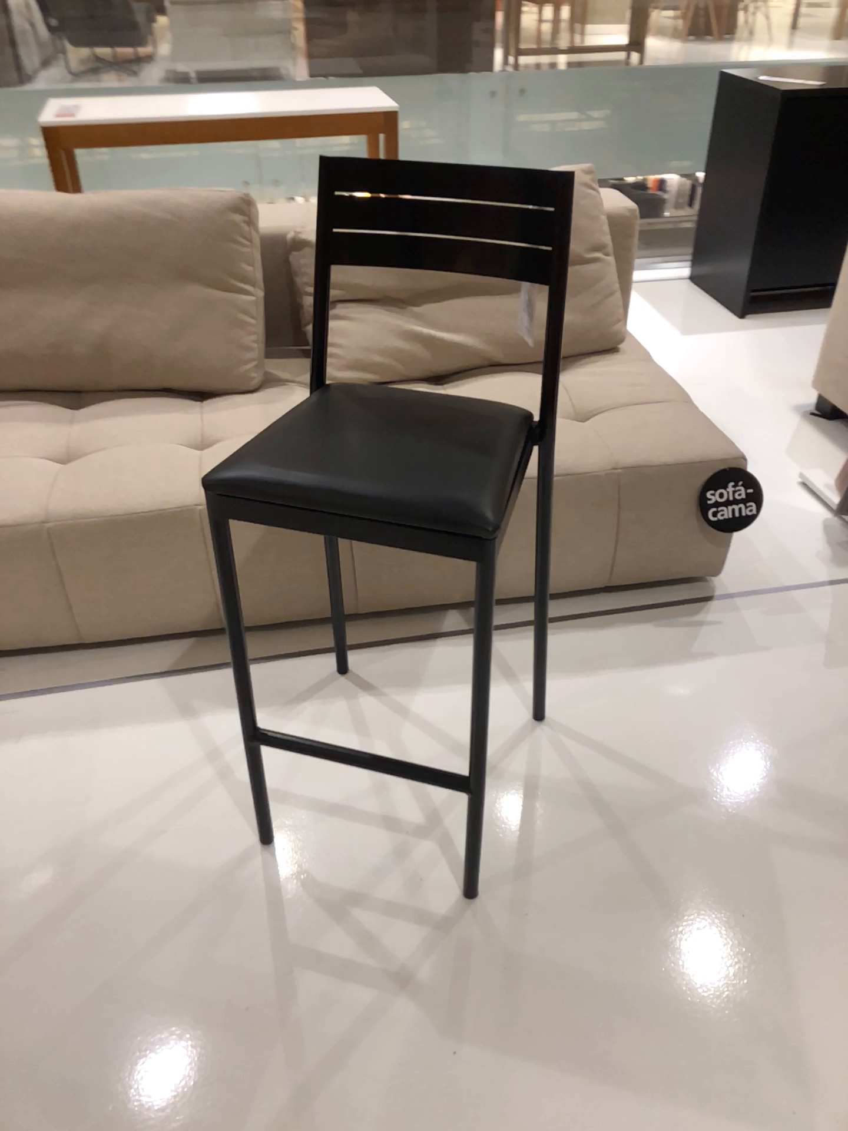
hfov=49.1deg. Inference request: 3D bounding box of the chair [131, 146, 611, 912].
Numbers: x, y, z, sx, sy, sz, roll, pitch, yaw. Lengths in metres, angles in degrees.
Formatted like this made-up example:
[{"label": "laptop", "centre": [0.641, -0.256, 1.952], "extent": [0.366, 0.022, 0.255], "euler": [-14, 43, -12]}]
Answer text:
[{"label": "chair", "centre": [-0.022, -0.038, 1.340], "extent": [0.420, 0.942, 0.474], "euler": [9, 36, 14]}]
